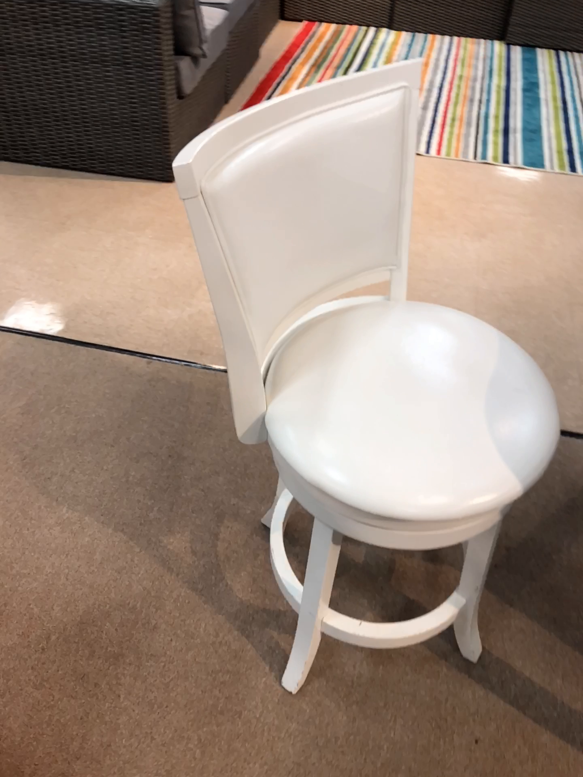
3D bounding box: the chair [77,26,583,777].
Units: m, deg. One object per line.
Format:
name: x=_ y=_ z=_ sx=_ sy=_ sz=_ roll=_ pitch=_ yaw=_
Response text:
chair: x=0.175 y=0.059 z=1.036 sx=0.622 sy=0.944 sz=0.572 roll=-34 pitch=55 yaw=-31
